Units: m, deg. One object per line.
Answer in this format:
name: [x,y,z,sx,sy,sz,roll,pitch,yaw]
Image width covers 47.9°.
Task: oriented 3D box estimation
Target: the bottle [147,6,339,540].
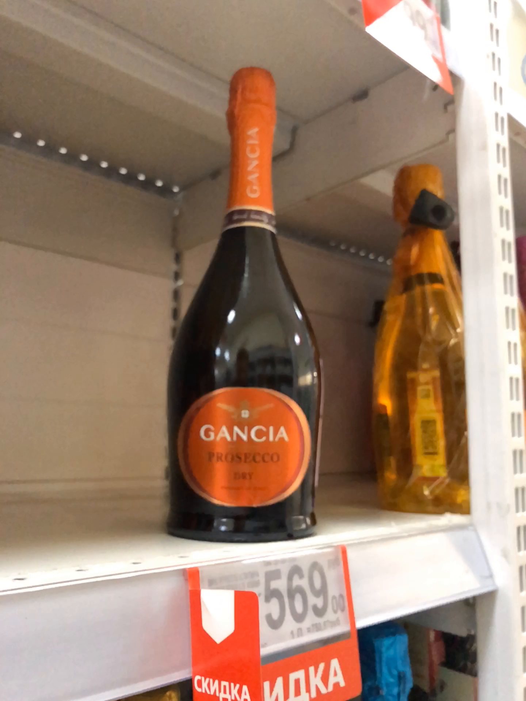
bottle: [-0.011,-0.047,0.384,0.100,0.311,0.100,1,-10,0]
